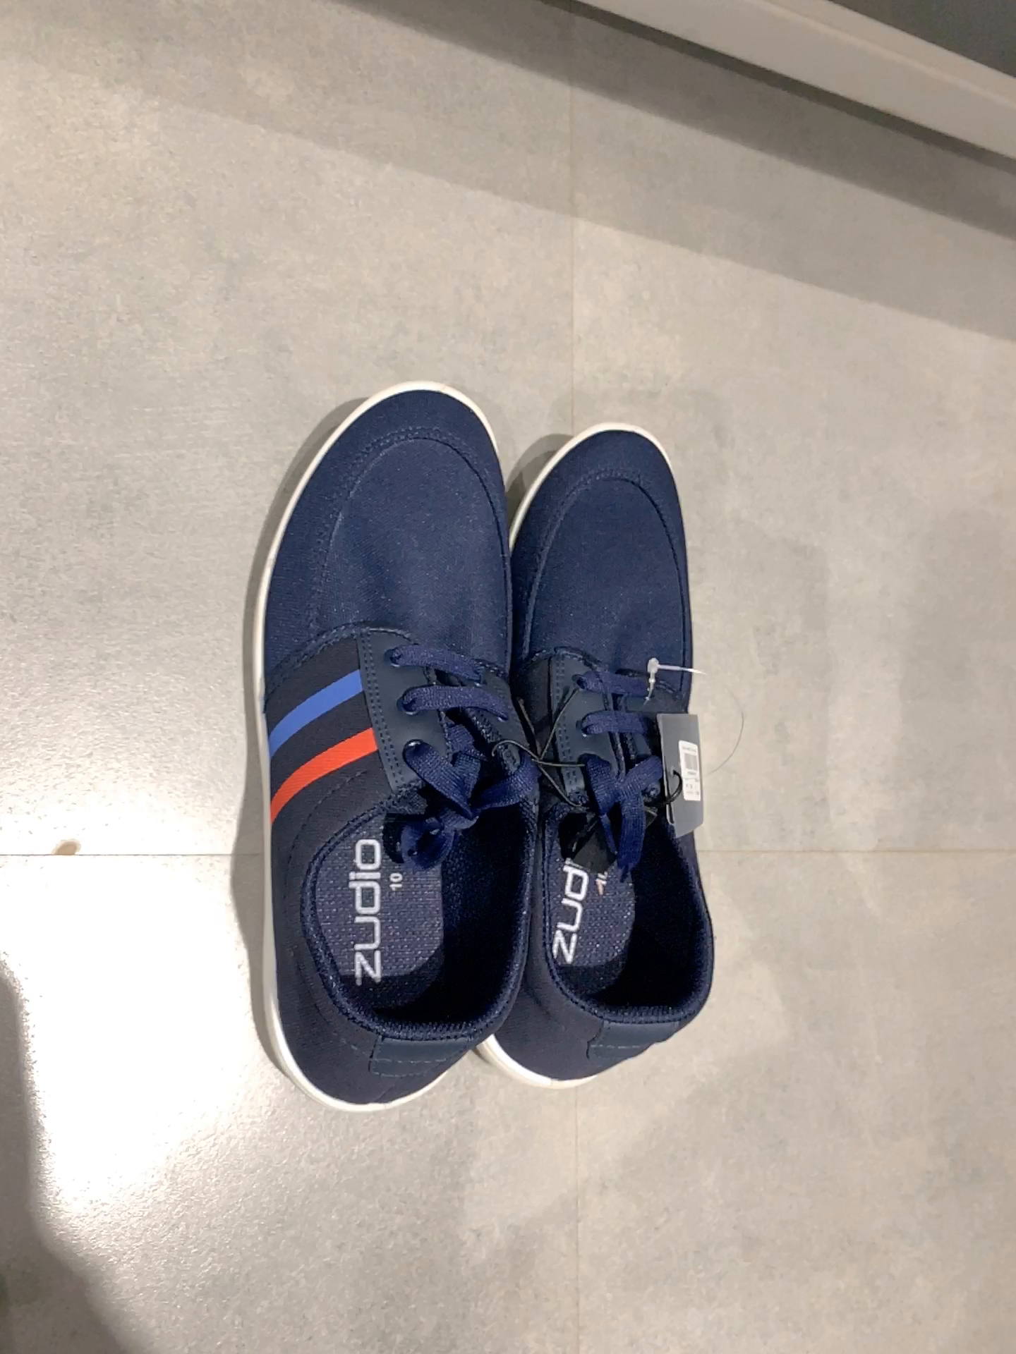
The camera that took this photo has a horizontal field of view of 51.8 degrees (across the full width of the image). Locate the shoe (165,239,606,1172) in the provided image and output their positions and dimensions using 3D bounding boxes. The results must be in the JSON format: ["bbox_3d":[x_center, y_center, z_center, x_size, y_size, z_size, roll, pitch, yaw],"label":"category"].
[{"bbox_3d":[-0.046,0.012,0.413,0.120,0.100,0.310,9,78,-26],"label":"shoe"}]

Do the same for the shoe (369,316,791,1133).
[{"bbox_3d":[0.034,0.023,0.461,0.120,0.100,0.310,13,77,-25],"label":"shoe"}]
